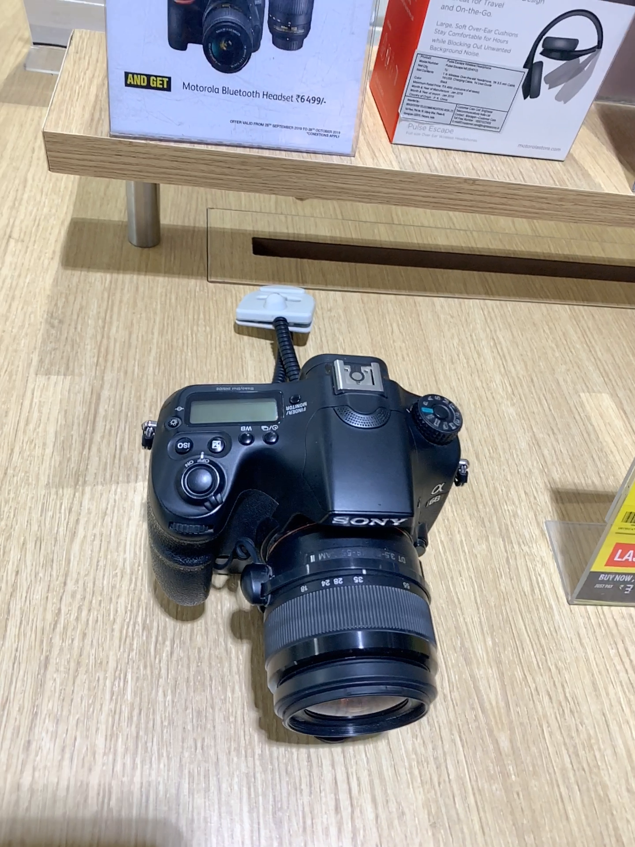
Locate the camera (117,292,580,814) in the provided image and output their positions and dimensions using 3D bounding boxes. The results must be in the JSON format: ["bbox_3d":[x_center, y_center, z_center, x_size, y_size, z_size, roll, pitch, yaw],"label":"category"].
[{"bbox_3d":[-0.005,0.036,0.259,0.130,0.070,0.180,0,51,-13],"label":"camera"}]
